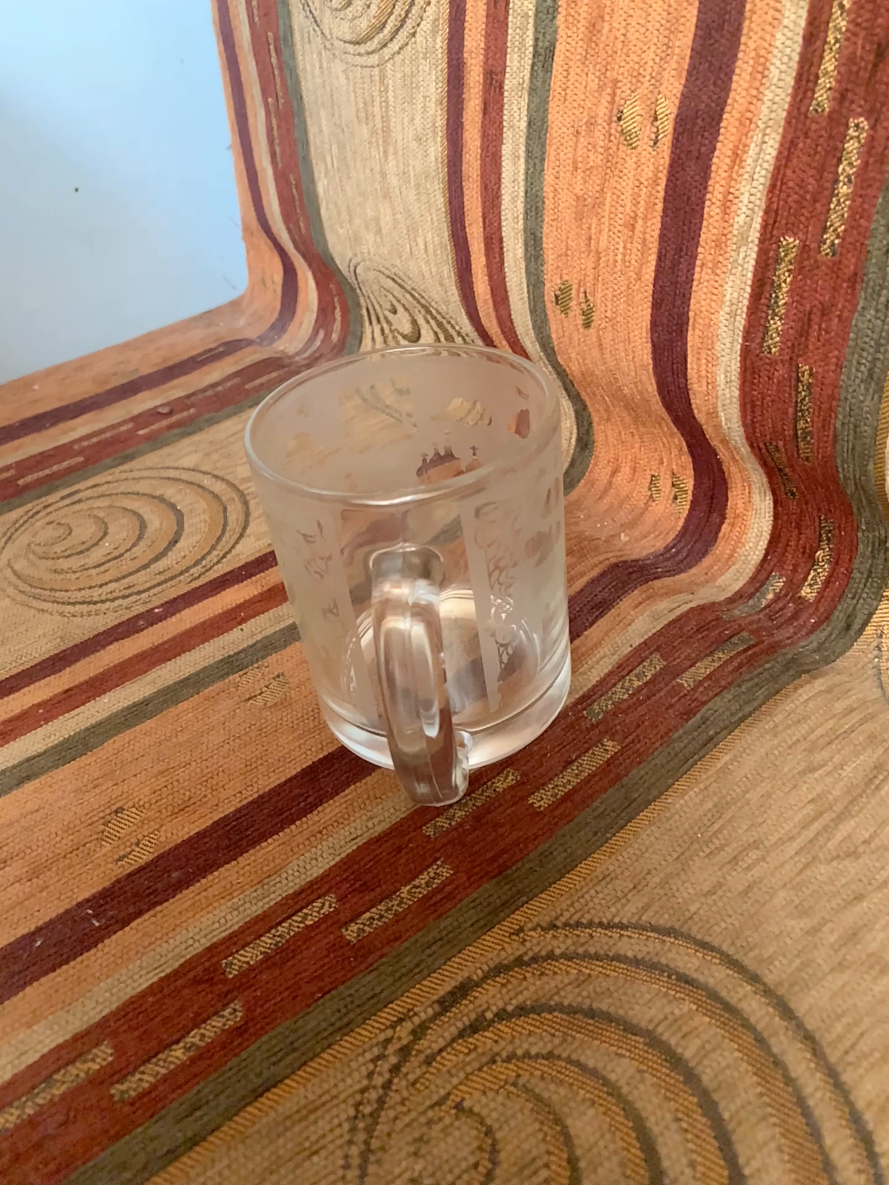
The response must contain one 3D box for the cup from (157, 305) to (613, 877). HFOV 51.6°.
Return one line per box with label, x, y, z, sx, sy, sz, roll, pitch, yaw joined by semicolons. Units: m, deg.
cup;-0.012;-0.007;0.240;0.084;0.086;0.116;-8;37;-1
